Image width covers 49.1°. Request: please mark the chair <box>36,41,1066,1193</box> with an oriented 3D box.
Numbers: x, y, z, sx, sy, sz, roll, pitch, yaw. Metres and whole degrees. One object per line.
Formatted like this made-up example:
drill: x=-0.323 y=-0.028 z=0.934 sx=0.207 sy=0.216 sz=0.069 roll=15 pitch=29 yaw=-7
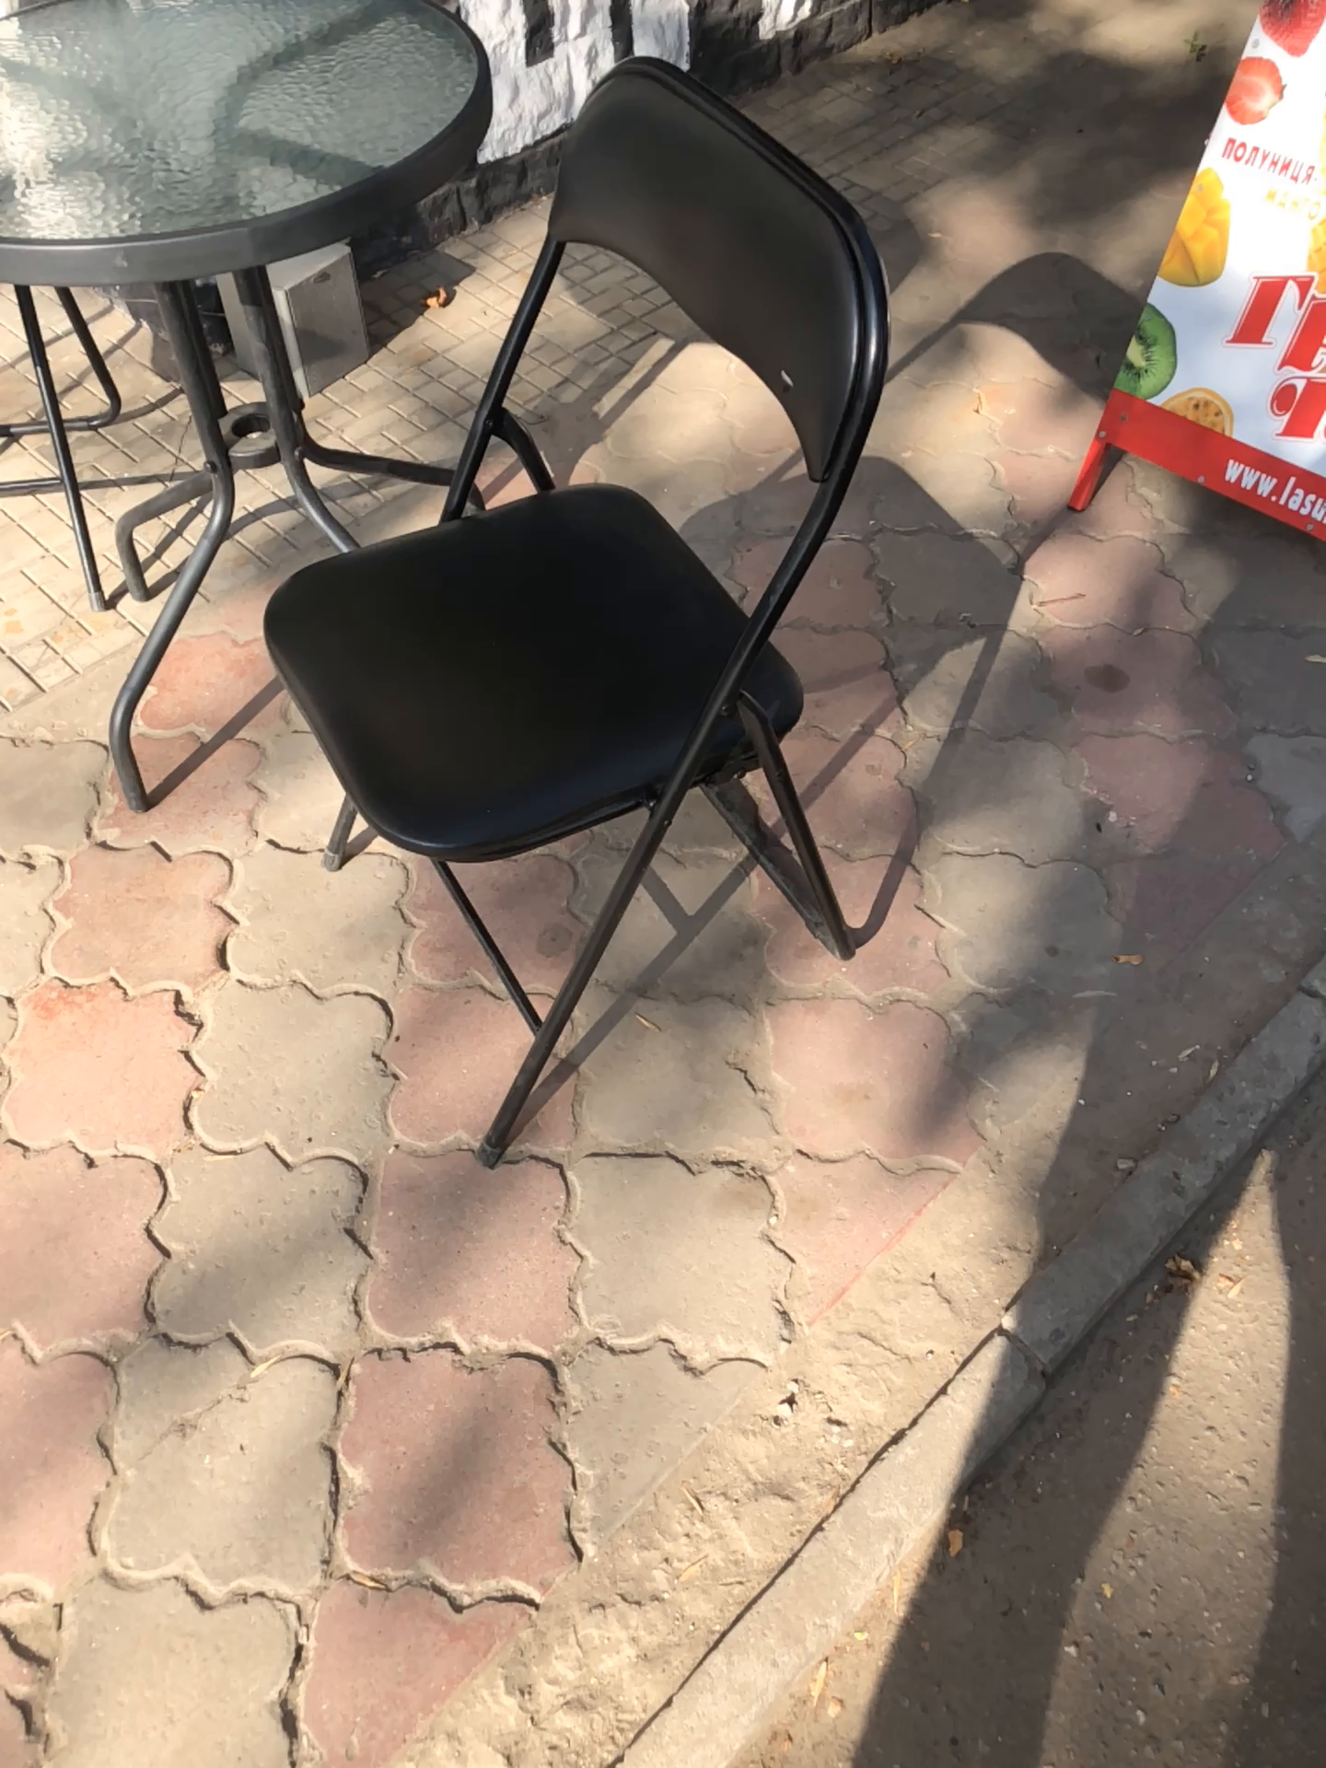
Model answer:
chair: x=-0.091 y=-0.220 z=1.216 sx=0.501 sy=0.638 sz=0.531 roll=-26 pitch=53 yaw=-19
